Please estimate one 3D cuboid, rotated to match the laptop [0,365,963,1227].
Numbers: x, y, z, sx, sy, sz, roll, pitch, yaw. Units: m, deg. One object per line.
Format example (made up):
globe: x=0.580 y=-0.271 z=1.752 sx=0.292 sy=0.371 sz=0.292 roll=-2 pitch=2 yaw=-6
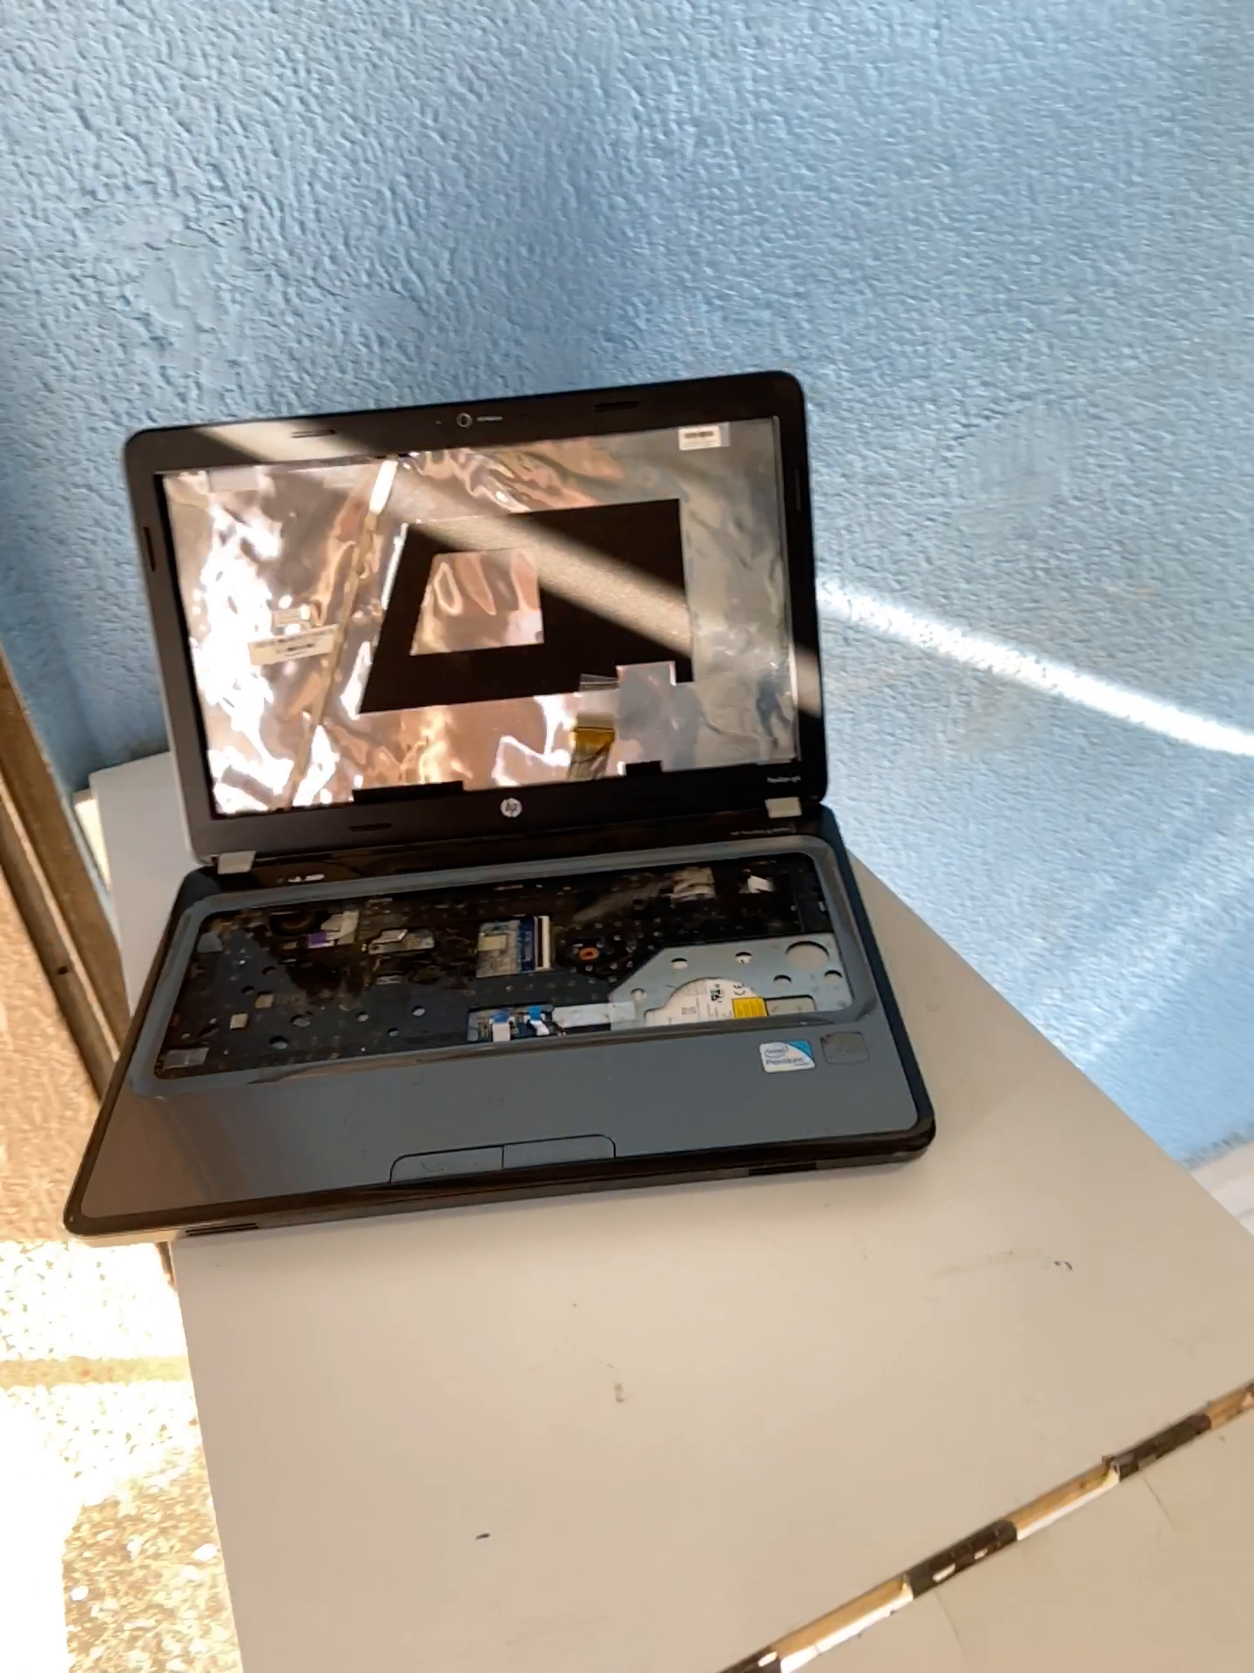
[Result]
laptop: x=-0.065 y=-0.043 z=0.572 sx=0.335 sy=0.194 sz=0.325 roll=-6 pitch=35 yaw=1
